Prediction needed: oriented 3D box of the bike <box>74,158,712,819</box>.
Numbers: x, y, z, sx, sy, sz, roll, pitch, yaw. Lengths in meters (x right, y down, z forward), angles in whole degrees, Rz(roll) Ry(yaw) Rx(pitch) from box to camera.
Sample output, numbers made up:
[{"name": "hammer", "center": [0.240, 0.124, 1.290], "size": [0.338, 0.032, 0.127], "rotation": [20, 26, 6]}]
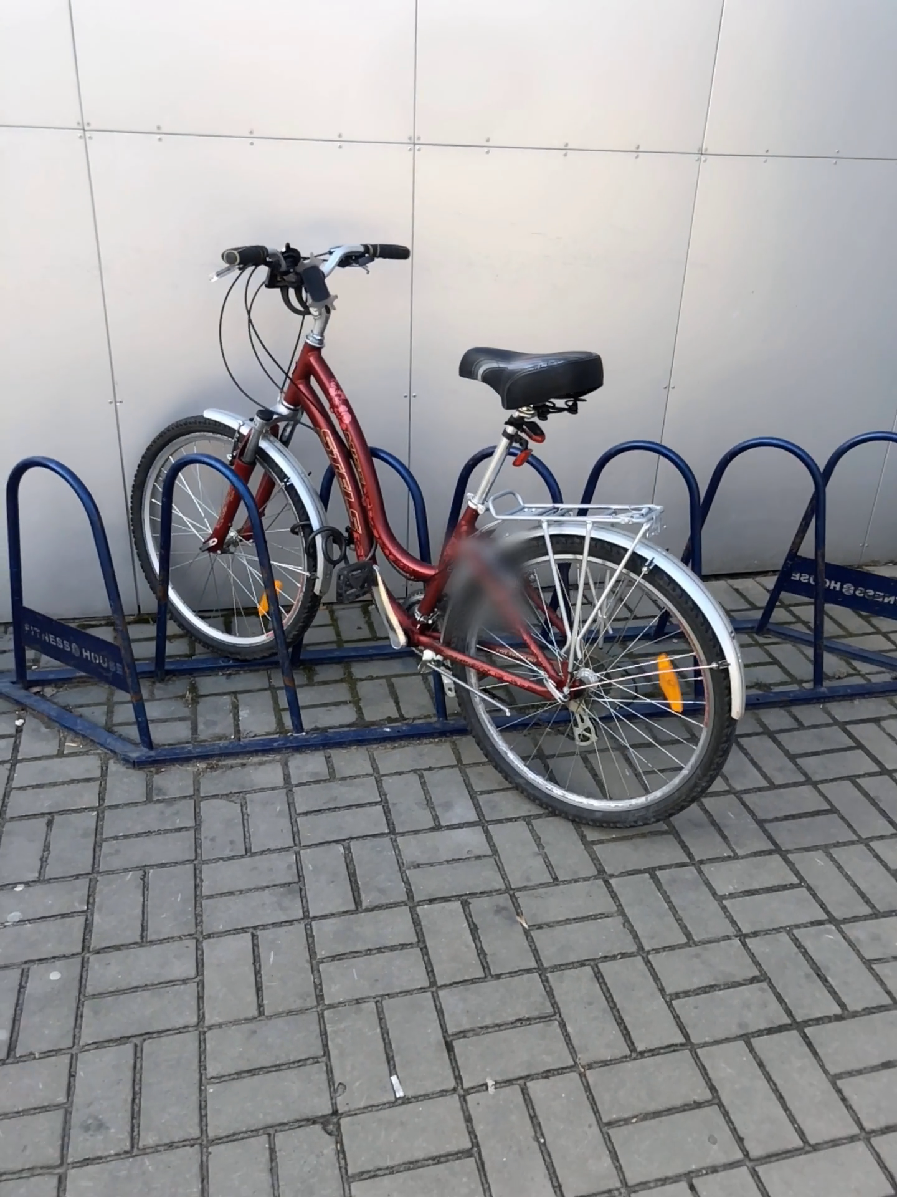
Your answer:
[{"name": "bike", "center": [-0.166, -0.365, 2.262], "size": [1.308, 0.972, 0.597], "rotation": [24, 33, 29]}]
